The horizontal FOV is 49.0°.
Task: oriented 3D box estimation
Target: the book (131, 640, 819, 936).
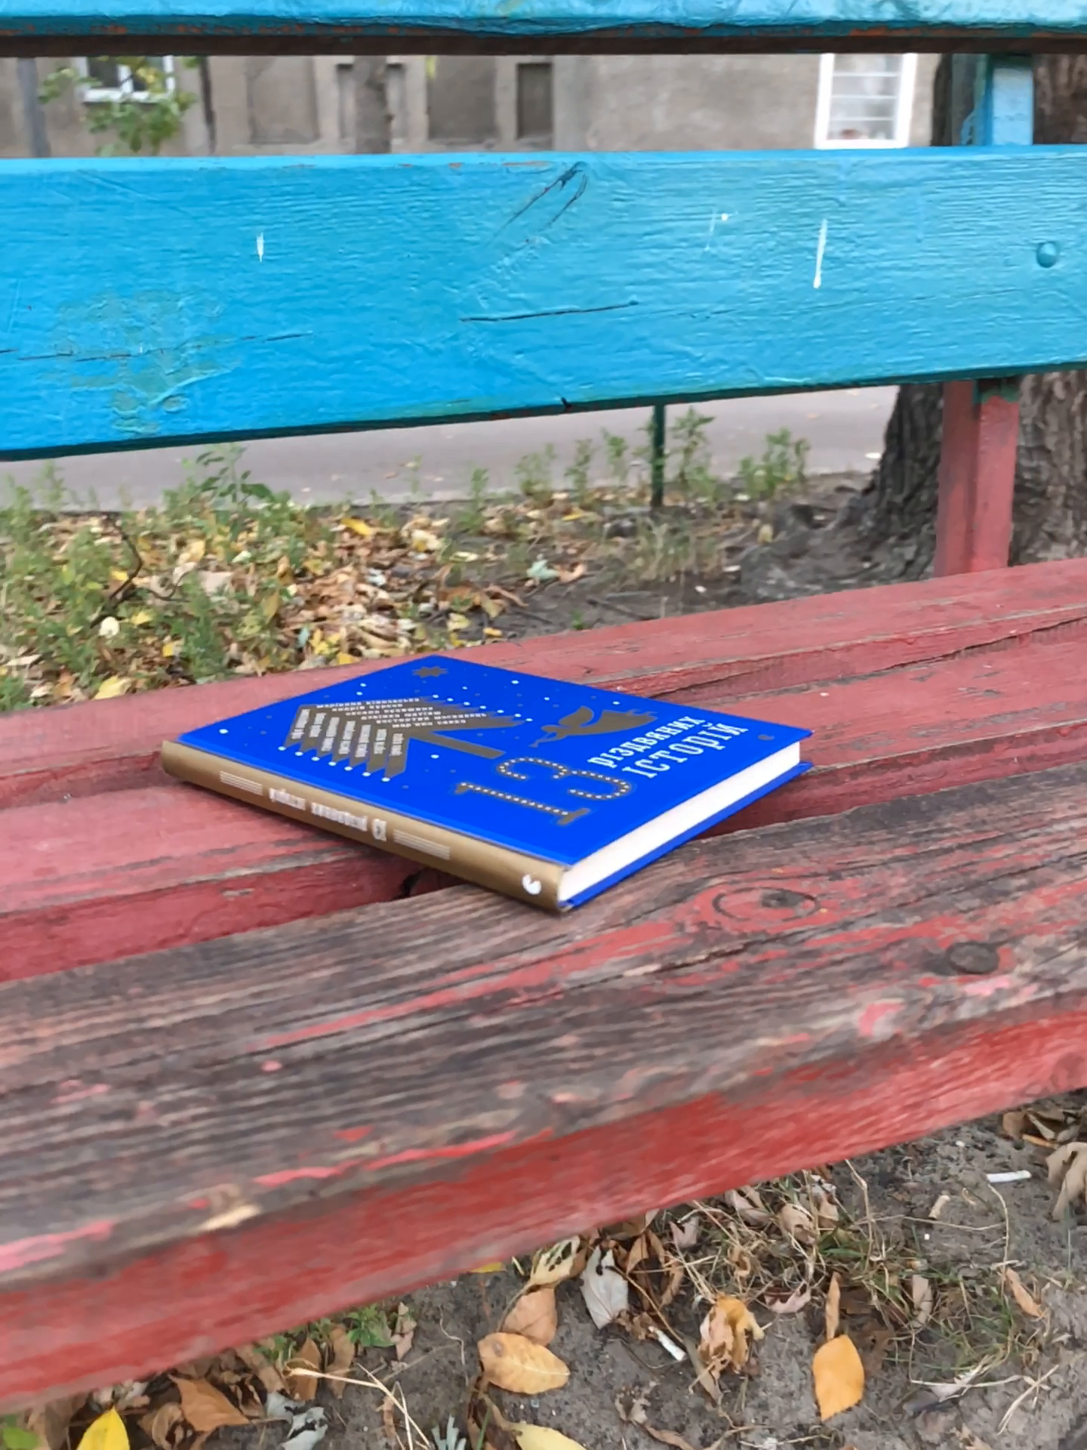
[{"bbox_3d":[-0.028,0.009,0.455,0.212,0.020,0.156,13,25,38],"label":"book"}]
